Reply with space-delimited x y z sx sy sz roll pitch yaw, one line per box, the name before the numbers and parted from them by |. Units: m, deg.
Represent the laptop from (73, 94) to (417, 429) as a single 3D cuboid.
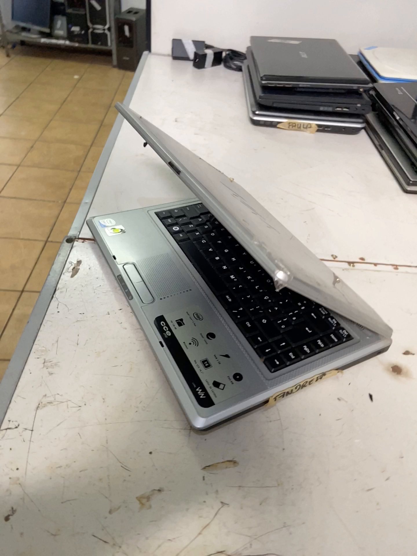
laptop | 0.024 -0.060 0.479 0.243 0.153 0.337 -16 46 -24
